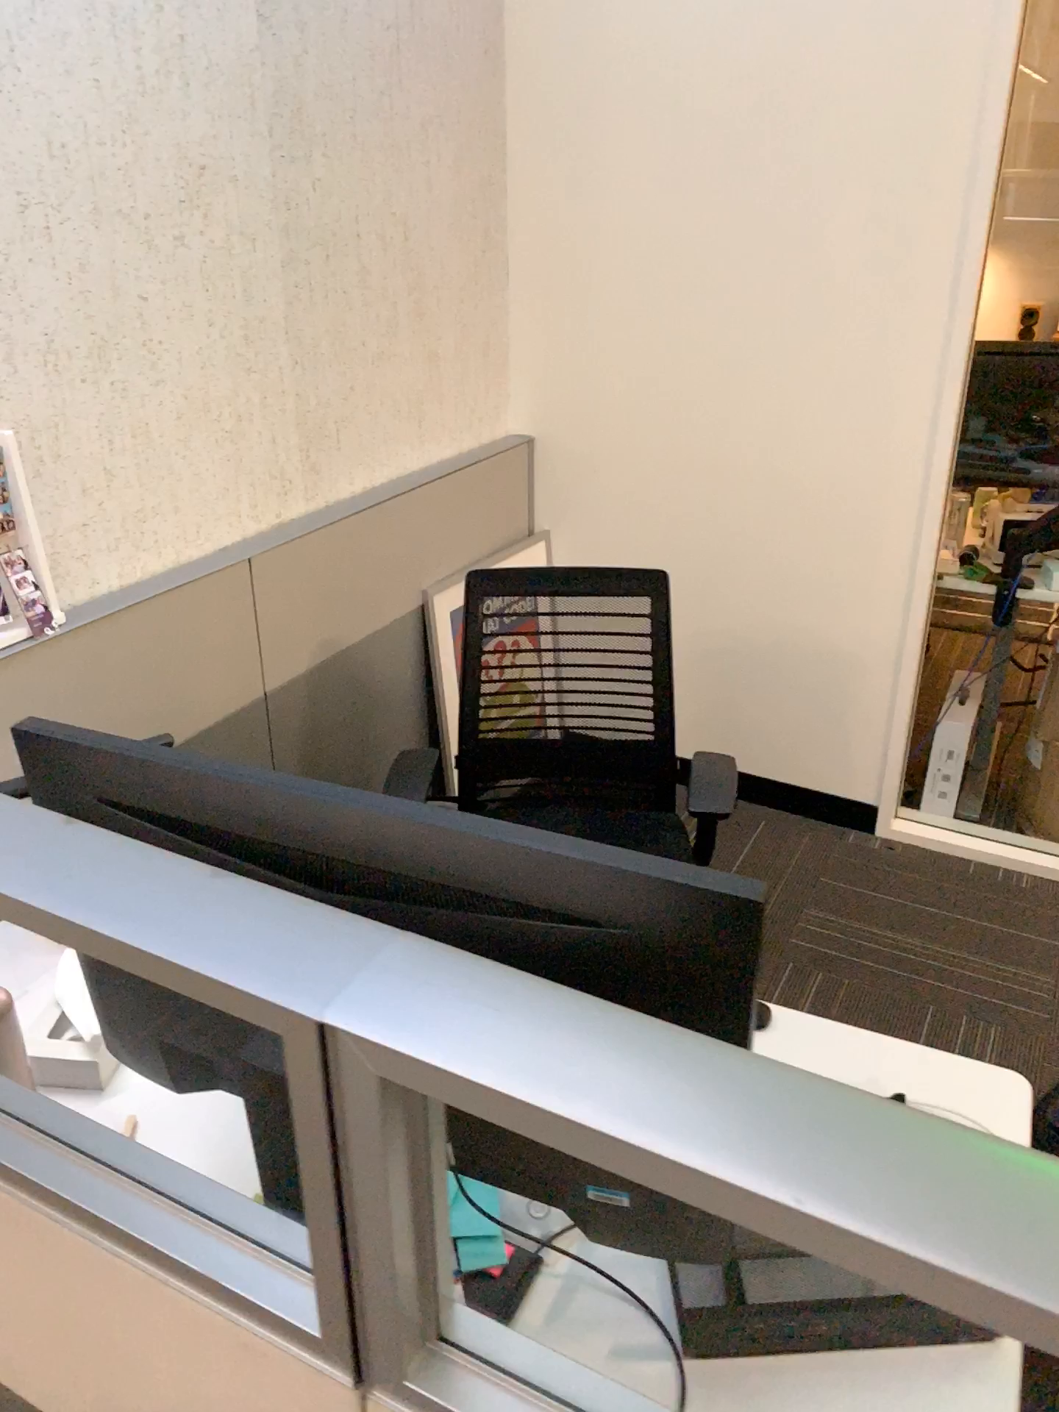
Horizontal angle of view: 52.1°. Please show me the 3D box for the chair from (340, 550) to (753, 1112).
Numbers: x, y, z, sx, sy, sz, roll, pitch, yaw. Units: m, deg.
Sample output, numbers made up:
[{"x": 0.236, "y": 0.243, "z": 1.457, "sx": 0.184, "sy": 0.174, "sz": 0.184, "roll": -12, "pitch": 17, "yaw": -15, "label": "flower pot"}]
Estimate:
[{"x": 0.033, "y": 0.238, "z": 2.257, "sx": 0.670, "sy": 0.954, "sz": 0.654, "roll": 0, "pitch": 26, "yaw": 1, "label": "chair"}]
